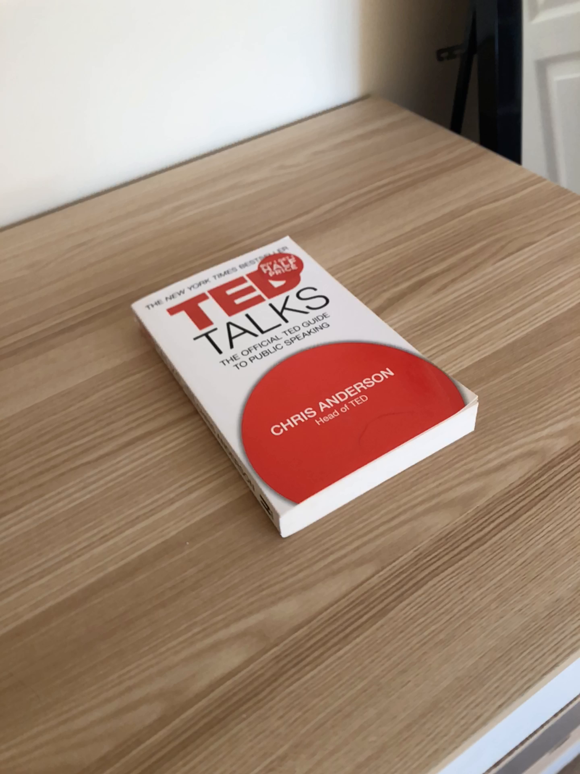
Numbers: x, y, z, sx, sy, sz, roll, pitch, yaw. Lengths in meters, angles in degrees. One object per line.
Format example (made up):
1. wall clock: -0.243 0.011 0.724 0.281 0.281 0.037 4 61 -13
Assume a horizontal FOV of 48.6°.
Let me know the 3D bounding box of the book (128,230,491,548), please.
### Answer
1. book: 0.001 -0.018 0.424 0.138 0.030 0.221 -26 49 -18
